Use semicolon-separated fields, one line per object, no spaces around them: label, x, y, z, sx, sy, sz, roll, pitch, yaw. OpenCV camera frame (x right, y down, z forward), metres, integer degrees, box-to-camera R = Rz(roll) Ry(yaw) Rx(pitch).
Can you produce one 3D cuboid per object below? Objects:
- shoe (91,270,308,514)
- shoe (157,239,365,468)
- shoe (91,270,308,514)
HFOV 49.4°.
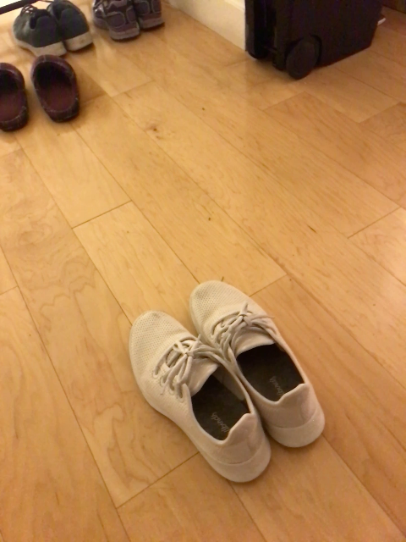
shoe;-0.014;0.142;0.583;0.130;0.089;0.281;-33;55;-19
shoe;0.061;0.091;0.584;0.120;0.070;0.281;-28;53;-16
shoe;-0.014;0.142;0.583;0.130;0.089;0.281;-33;55;-19
